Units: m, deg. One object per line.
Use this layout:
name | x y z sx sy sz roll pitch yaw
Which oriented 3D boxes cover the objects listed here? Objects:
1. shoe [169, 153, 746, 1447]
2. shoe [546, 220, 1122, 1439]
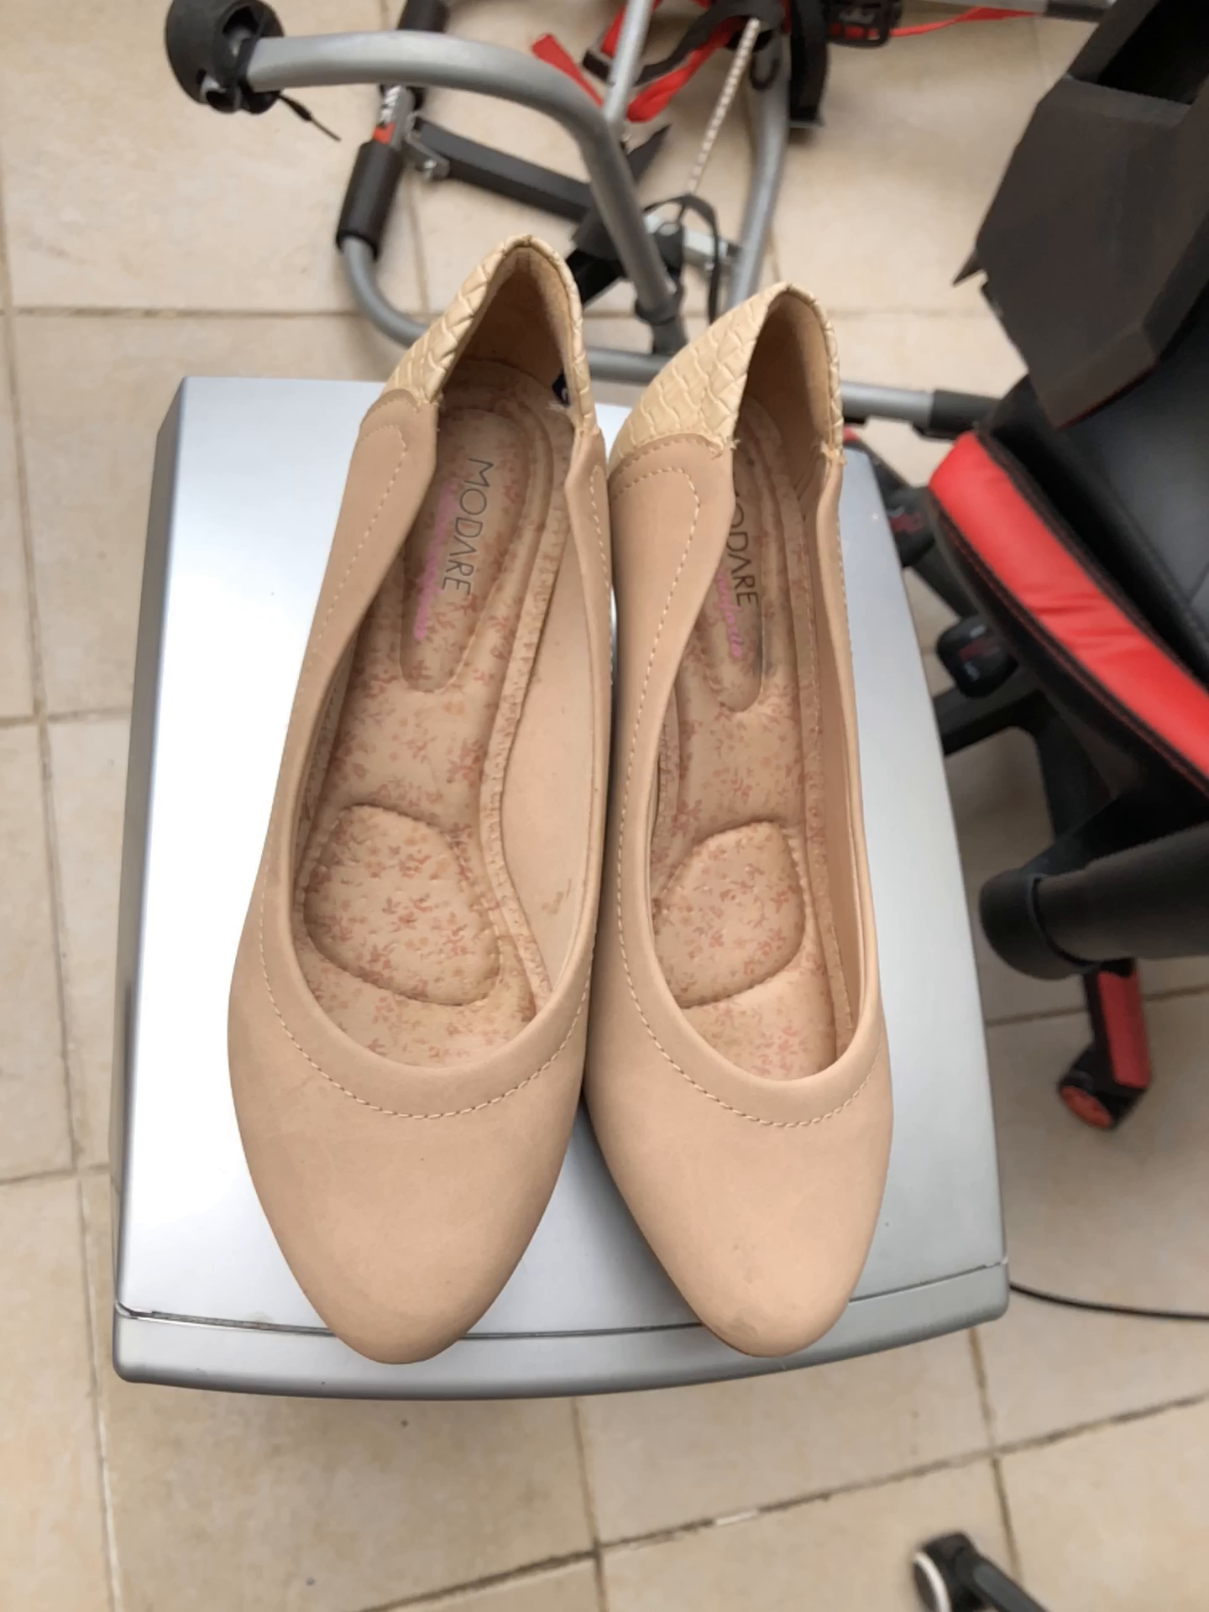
shoe | -0.035 0.003 0.314 0.090 0.120 0.244 7 78 -13
shoe | 0.042 0.007 0.333 0.090 0.120 0.244 2 79 -14
